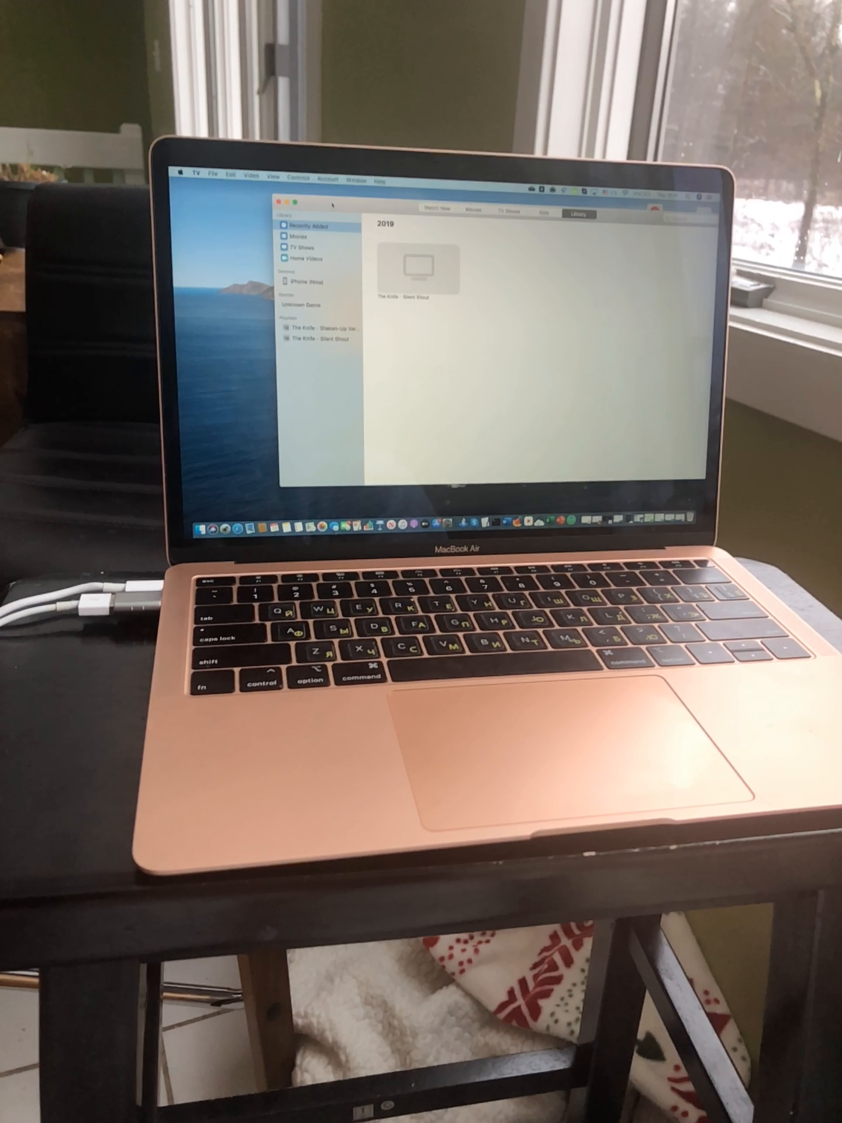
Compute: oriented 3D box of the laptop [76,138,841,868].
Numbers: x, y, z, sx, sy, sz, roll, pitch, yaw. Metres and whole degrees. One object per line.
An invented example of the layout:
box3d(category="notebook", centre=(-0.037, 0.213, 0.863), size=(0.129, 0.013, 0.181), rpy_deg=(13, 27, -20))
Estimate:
box3d(category="laptop", centre=(0.040, -0.059, 0.391), size=(0.298, 0.196, 0.265), rpy_deg=(-2, 25, -11))
